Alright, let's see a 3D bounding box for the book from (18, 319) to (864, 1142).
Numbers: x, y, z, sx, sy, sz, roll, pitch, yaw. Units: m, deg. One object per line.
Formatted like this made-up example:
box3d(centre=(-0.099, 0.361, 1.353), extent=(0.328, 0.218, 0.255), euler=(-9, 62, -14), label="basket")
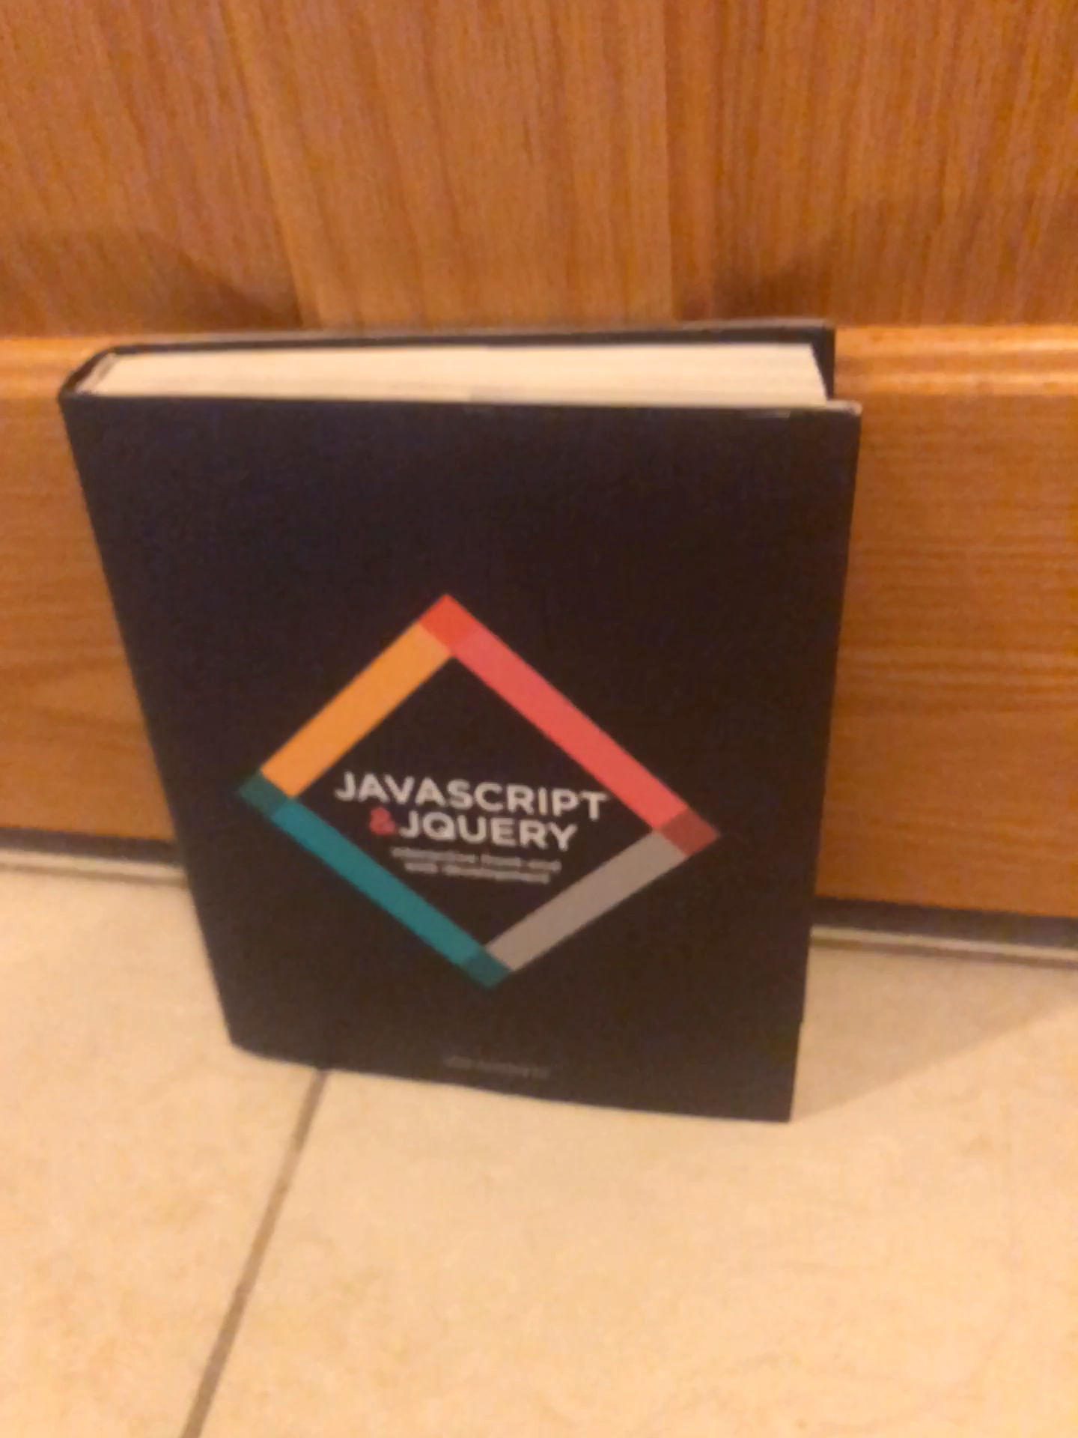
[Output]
box3d(centre=(-0.016, 0.010, 0.363), extent=(0.200, 0.237, 0.060), euler=(4, 33, 12), label="book")
